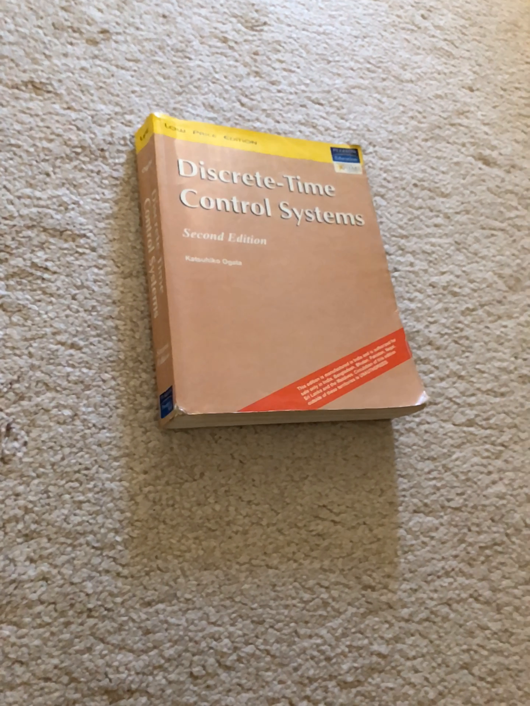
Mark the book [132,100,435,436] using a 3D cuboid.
[{"bbox_3d":[0.008,-0.064,0.430,0.186,0.035,0.238,1,66,-24],"label":"book"}]
